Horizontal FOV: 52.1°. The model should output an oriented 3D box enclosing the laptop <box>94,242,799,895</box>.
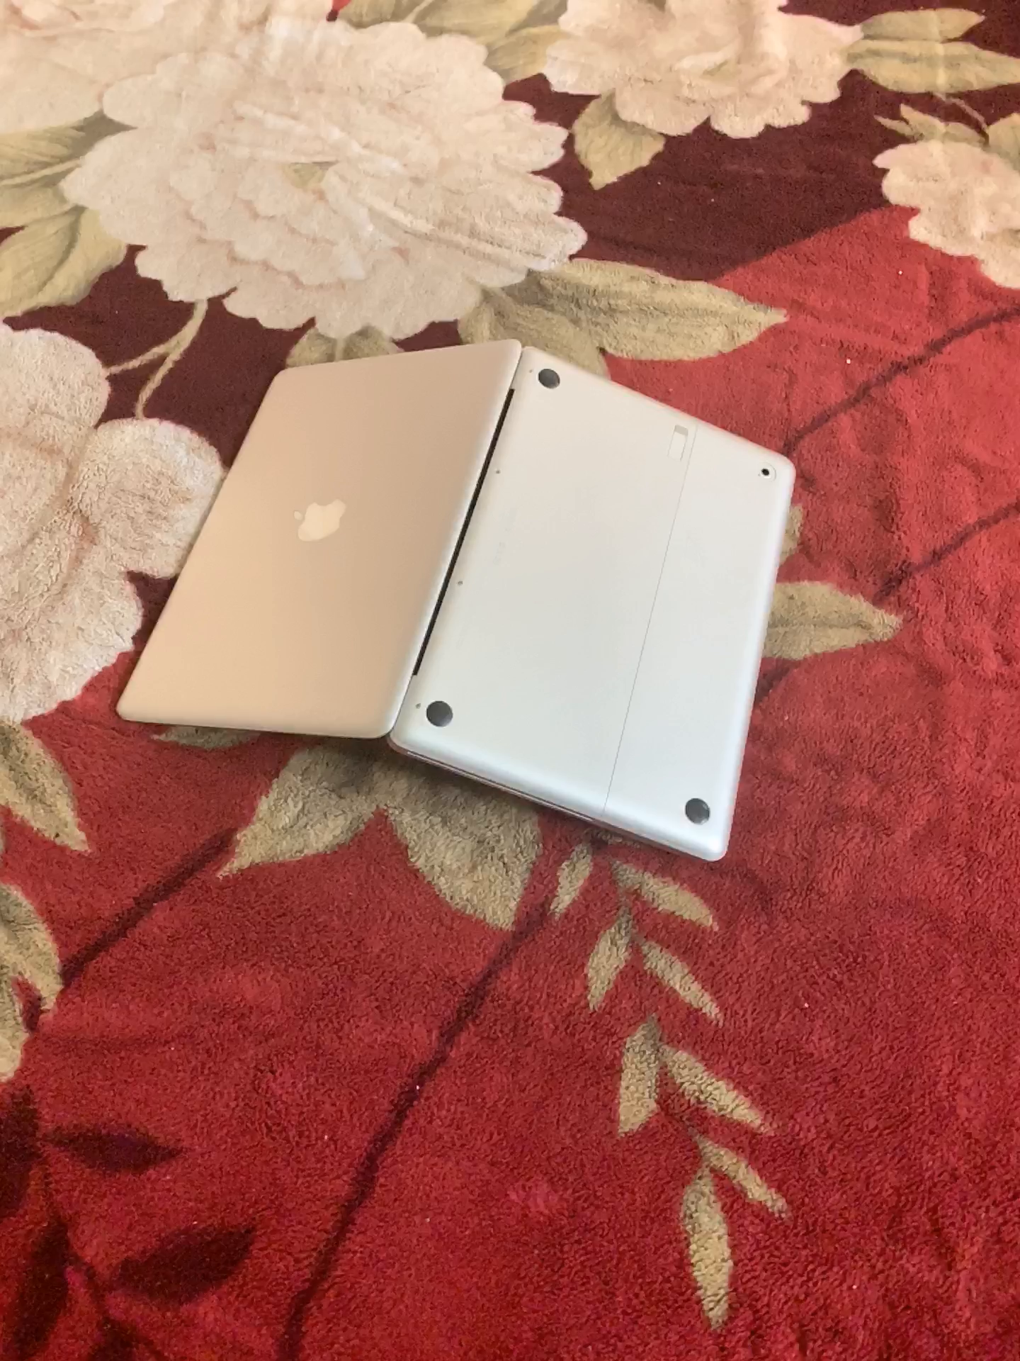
[{"bbox_3d":[-0.007,-0.078,0.707,0.390,0.077,0.317,20,64,-7],"label":"laptop"}]
